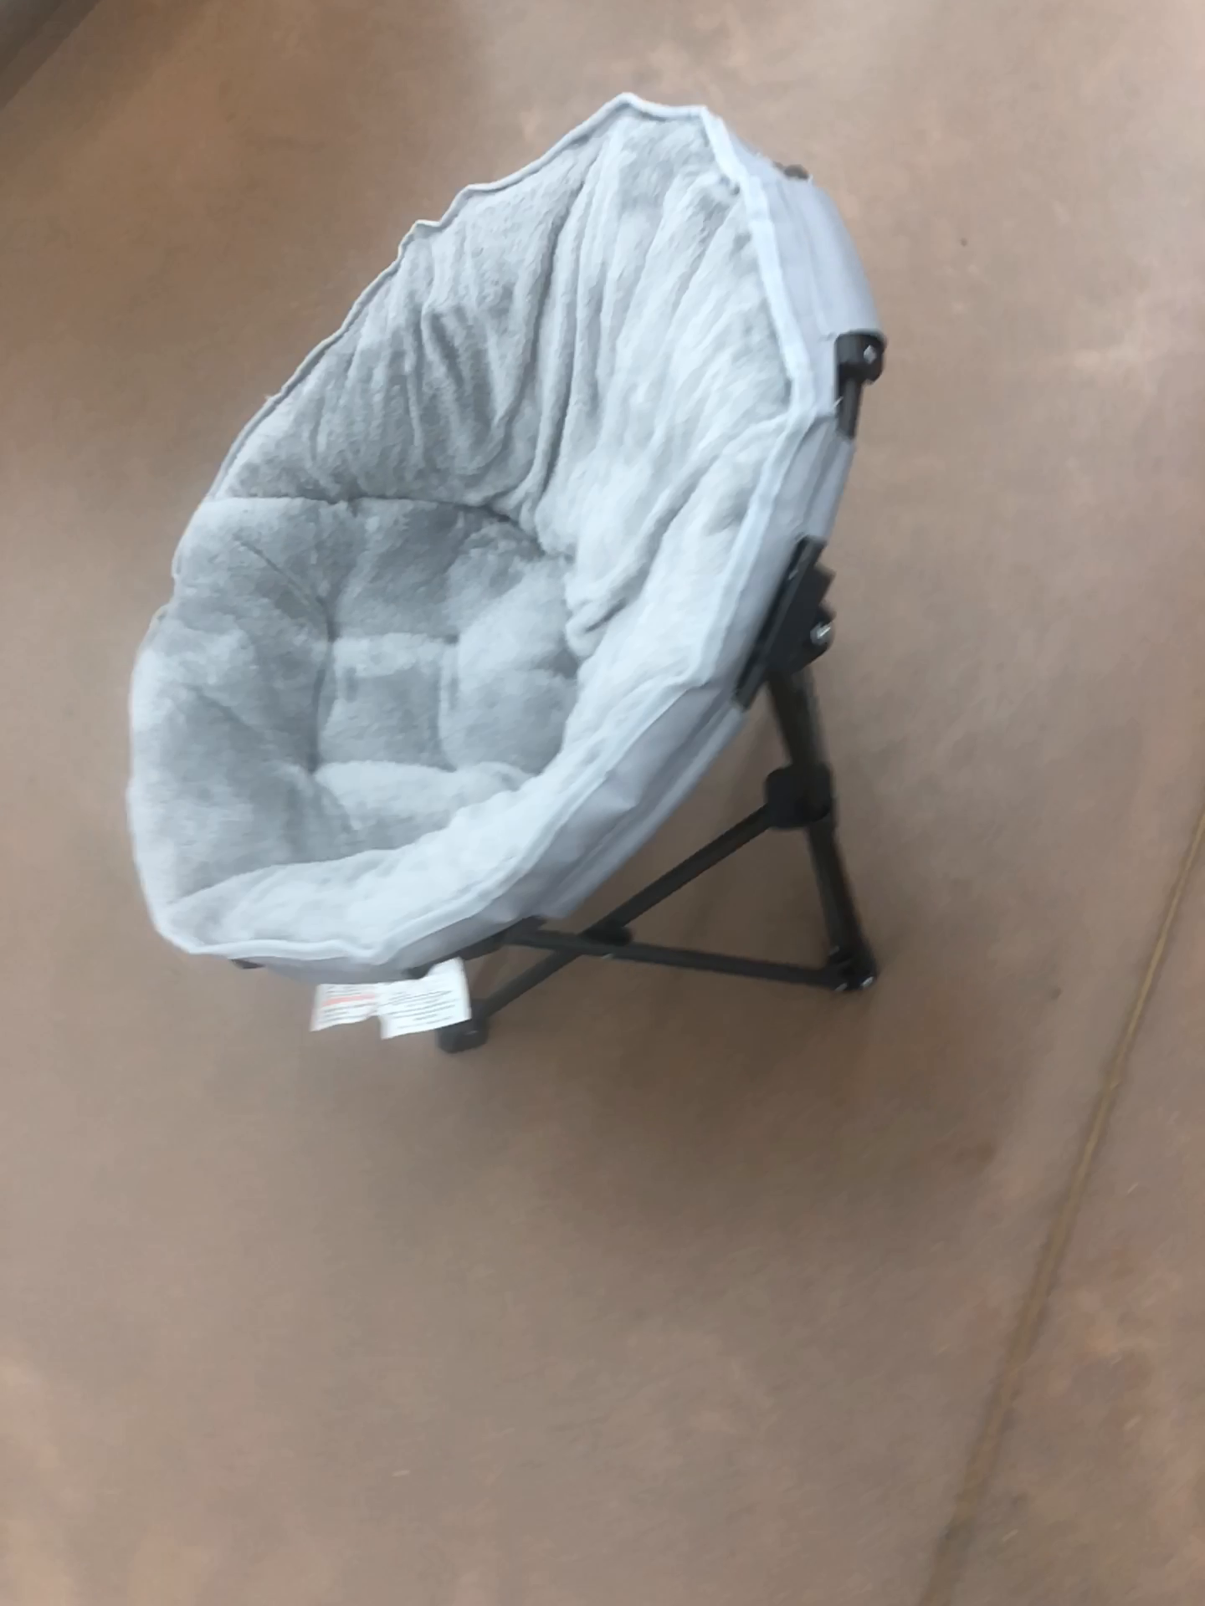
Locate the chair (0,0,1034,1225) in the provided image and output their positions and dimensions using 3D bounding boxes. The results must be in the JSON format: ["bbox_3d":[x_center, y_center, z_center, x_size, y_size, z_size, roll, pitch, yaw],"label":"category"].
[{"bbox_3d":[-0.098,-0.103,0.951,0.630,0.529,0.571,-14,58,9],"label":"chair"}]
